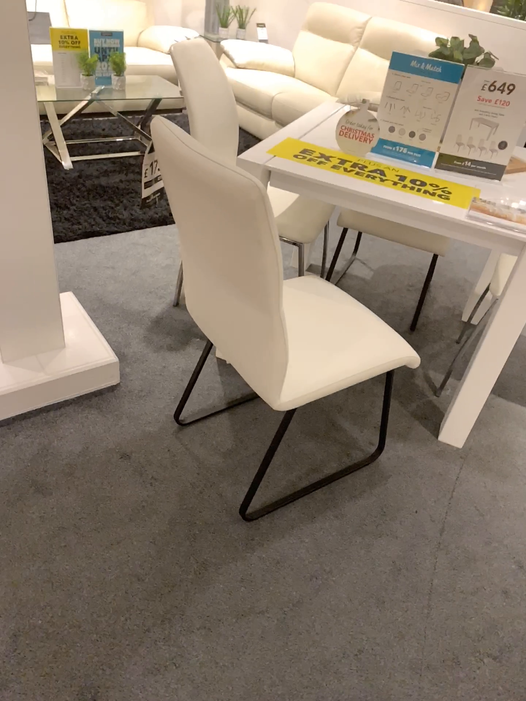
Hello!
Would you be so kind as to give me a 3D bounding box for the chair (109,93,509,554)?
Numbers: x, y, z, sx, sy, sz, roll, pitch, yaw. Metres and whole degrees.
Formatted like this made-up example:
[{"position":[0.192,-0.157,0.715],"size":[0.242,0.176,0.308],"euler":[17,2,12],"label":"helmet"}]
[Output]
[{"position":[0.037,-0.095,1.365],"size":[0.632,0.891,0.543],"euler":[-19,46,-32],"label":"chair"}]
